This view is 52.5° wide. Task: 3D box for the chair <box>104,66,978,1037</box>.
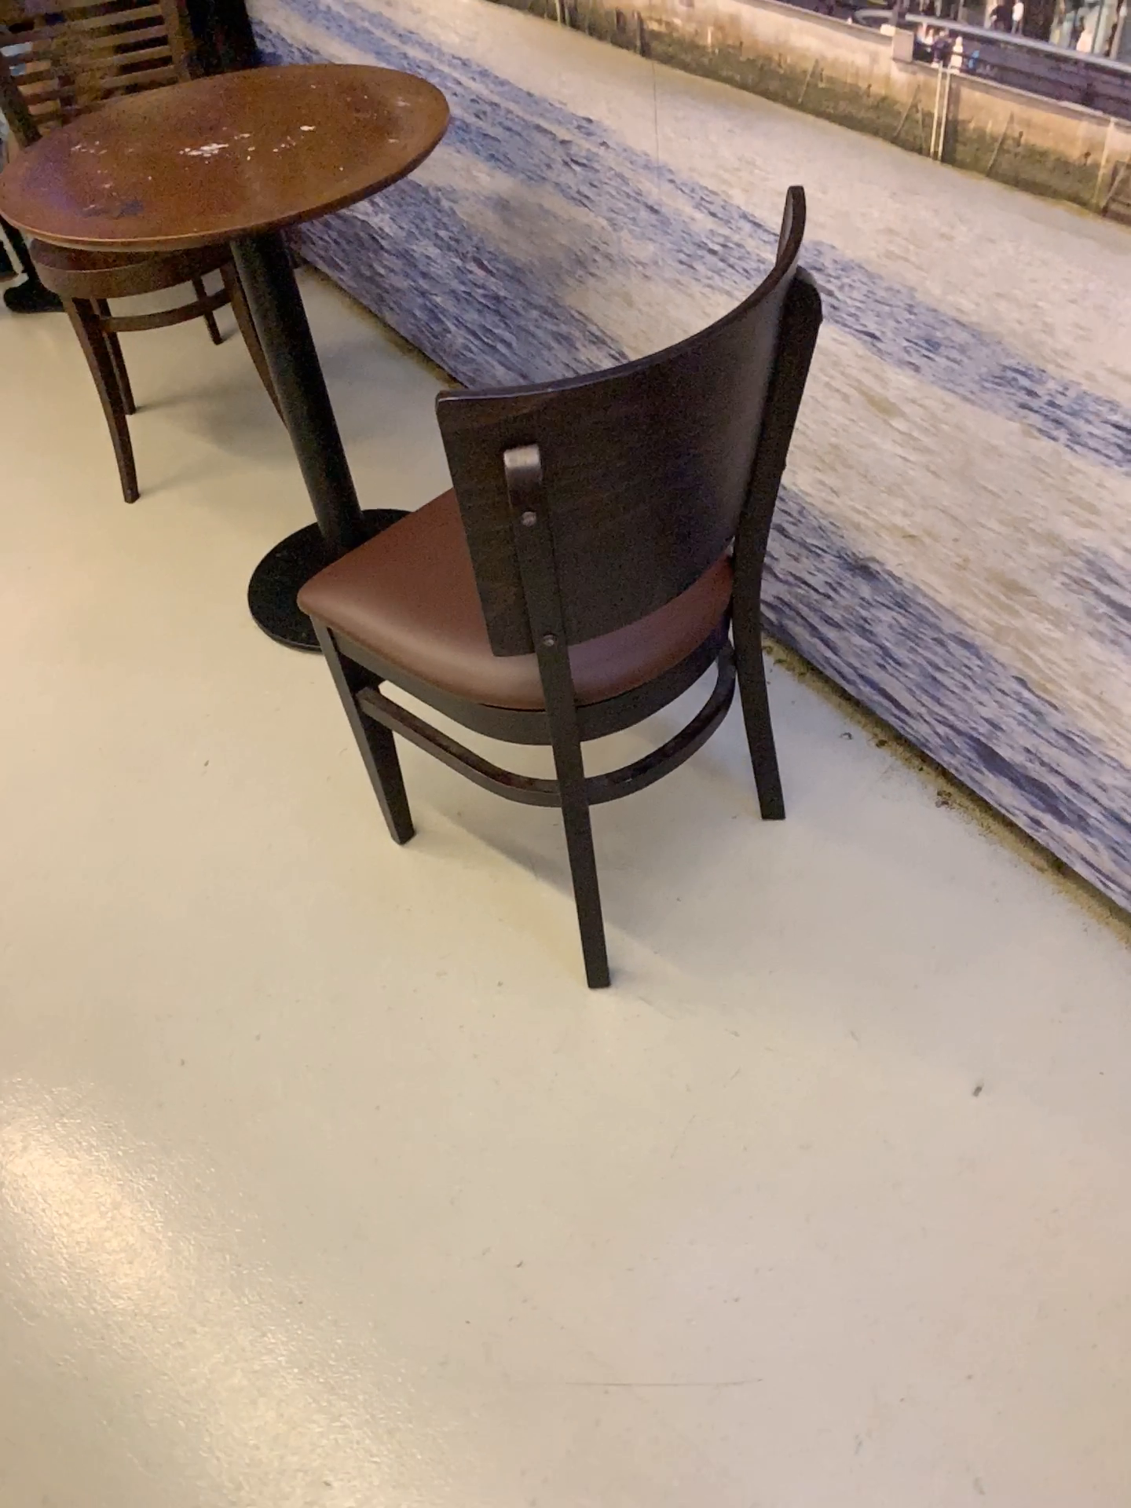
[{"bbox_3d":[0.007,-0.222,1.248,0.560,0.729,0.519,-36,51,-24],"label":"chair"}]
